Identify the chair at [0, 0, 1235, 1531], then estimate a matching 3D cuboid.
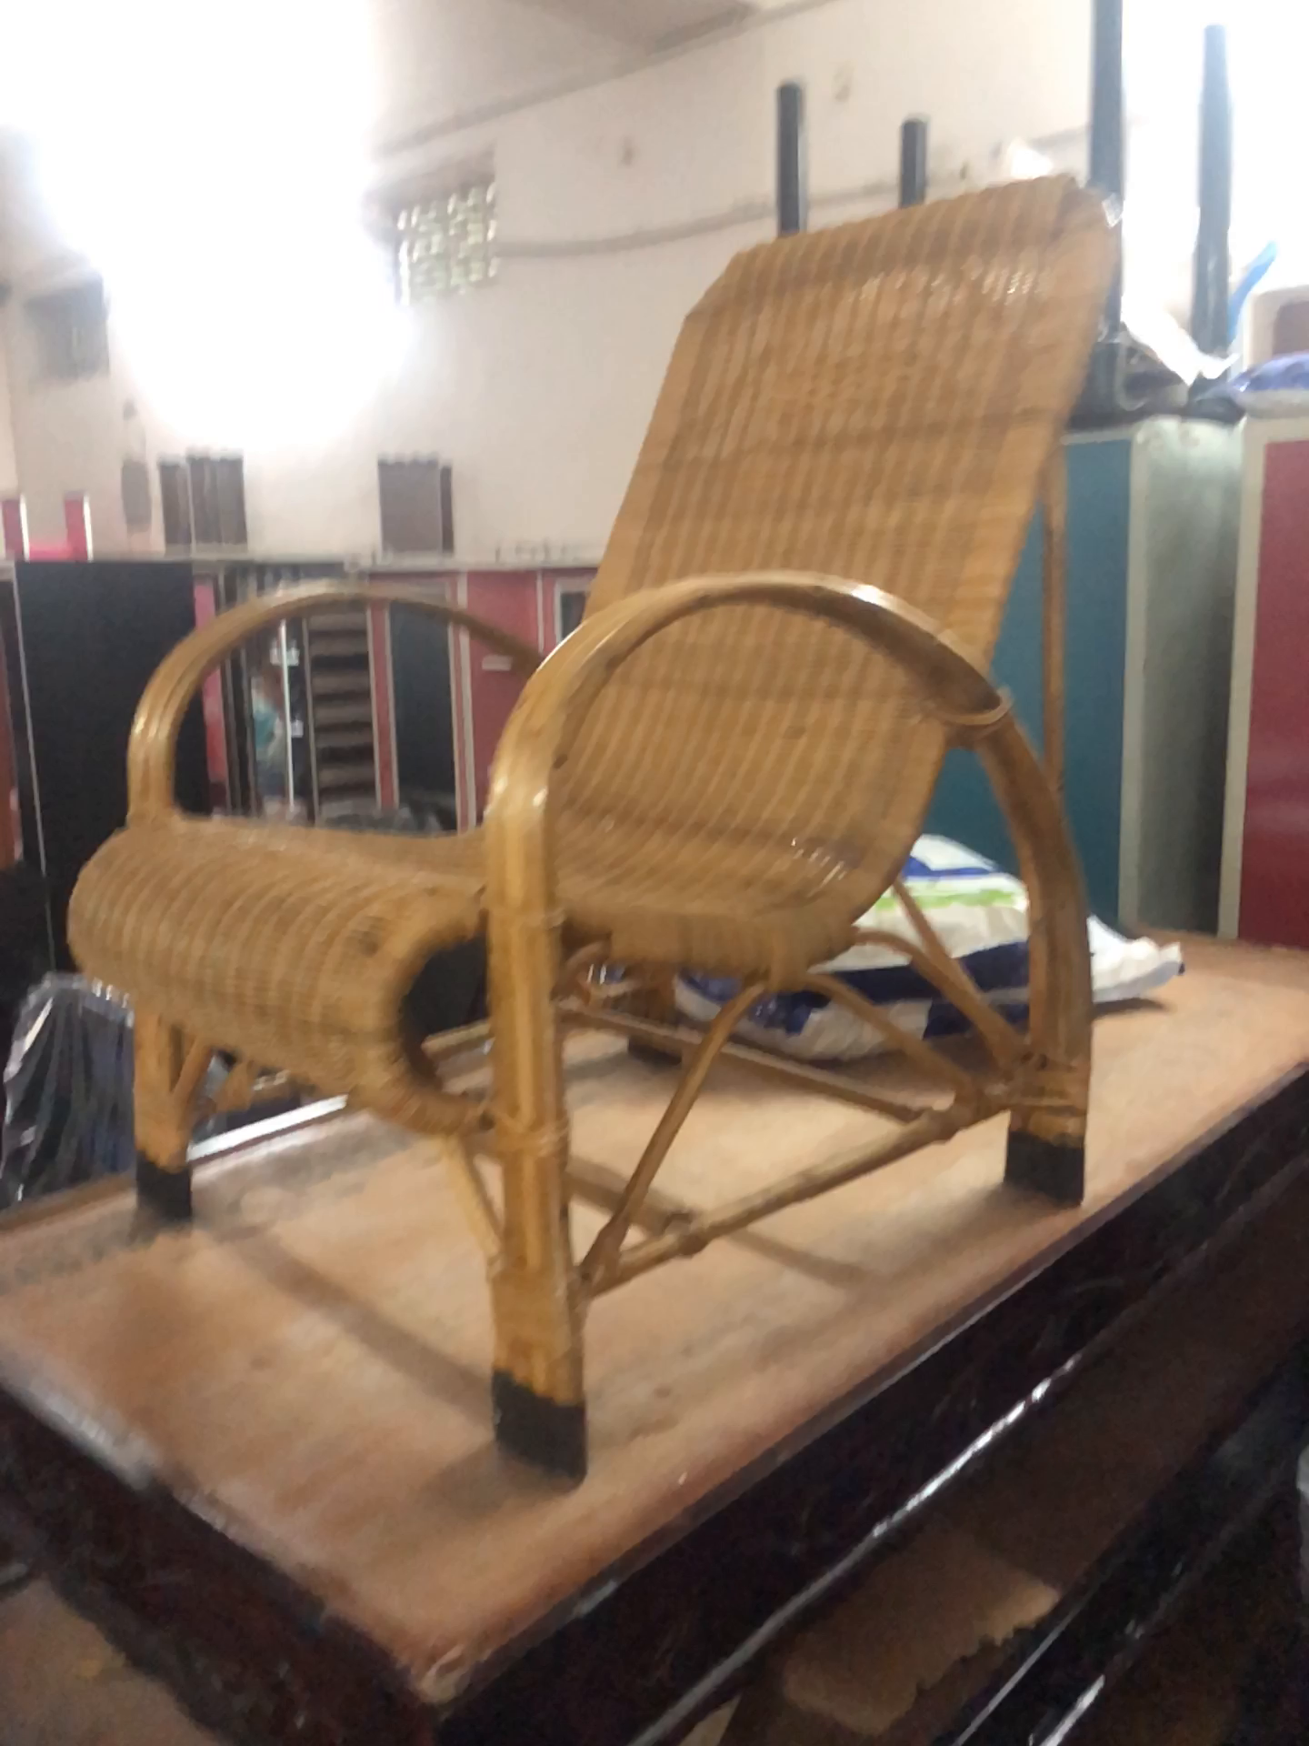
[{"bbox_3d":[-0.050,-0.206,1.321,0.823,0.998,0.769,-11,14,-43],"label":"chair"}]
